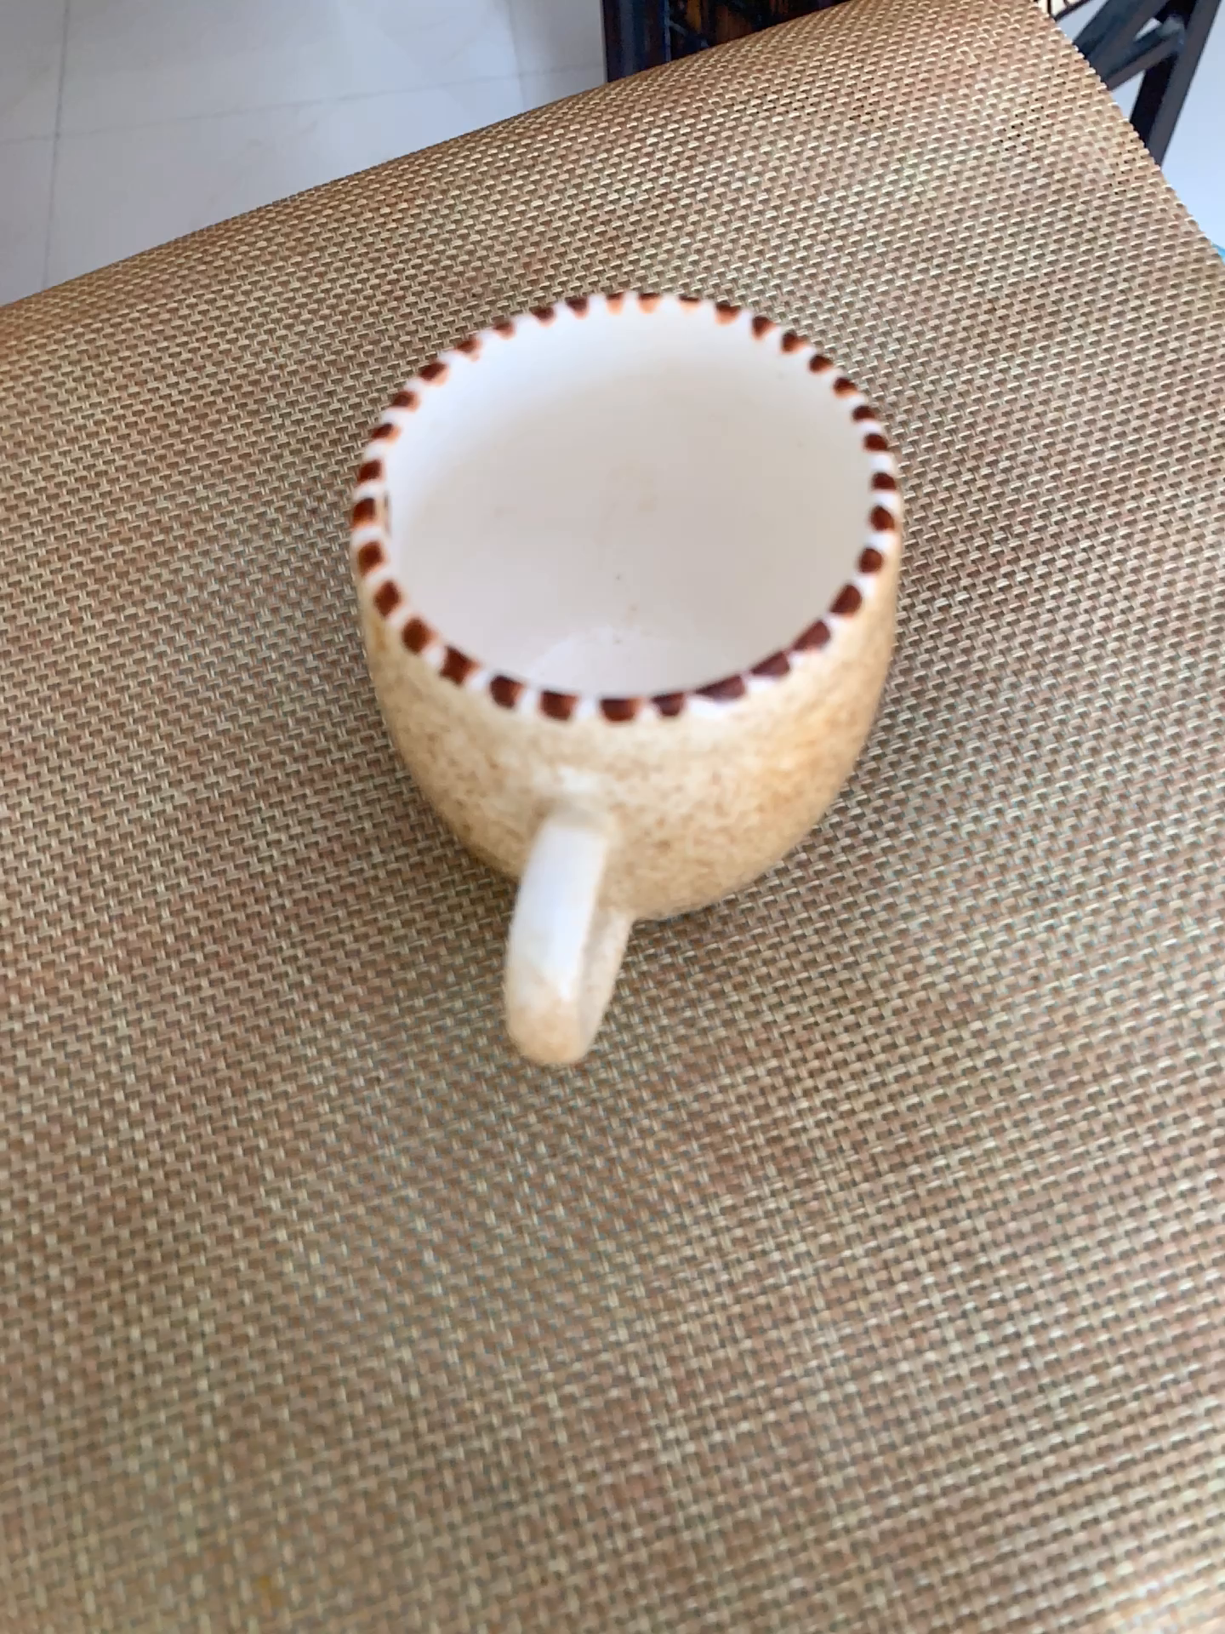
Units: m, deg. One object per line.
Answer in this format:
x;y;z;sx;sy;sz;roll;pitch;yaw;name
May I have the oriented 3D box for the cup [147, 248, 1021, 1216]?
0.003;-0.008;0.163;0.070;0.070;0.090;12;66;9;cup
